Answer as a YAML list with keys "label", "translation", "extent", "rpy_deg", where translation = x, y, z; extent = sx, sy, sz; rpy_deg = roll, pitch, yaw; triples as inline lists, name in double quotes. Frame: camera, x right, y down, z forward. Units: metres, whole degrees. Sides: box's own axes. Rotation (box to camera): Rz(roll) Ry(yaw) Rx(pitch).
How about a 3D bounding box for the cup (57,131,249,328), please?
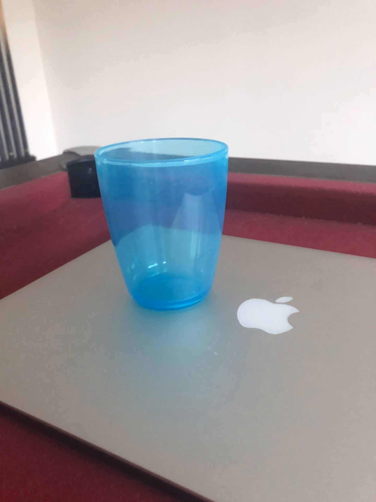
- label: "cup"
  translation: [-0.017, -0.023, 0.279]
  extent: [0.090, 0.099, 0.080]
  rpy_deg: [10, 26, 29]
